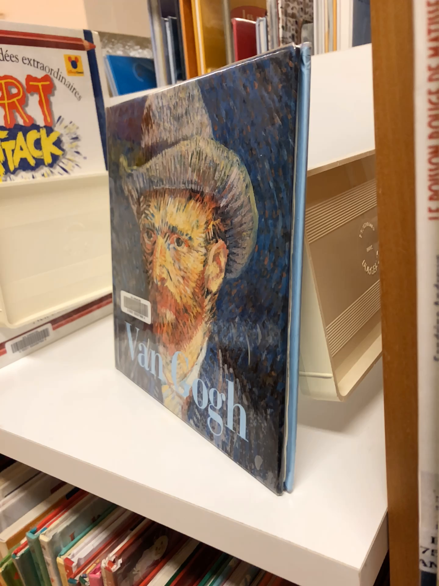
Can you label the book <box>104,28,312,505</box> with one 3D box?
[{"bbox_3d":[-0.024,-0.019,0.287,0.013,0.198,0.200,-6,12,-32],"label":"book"}]
